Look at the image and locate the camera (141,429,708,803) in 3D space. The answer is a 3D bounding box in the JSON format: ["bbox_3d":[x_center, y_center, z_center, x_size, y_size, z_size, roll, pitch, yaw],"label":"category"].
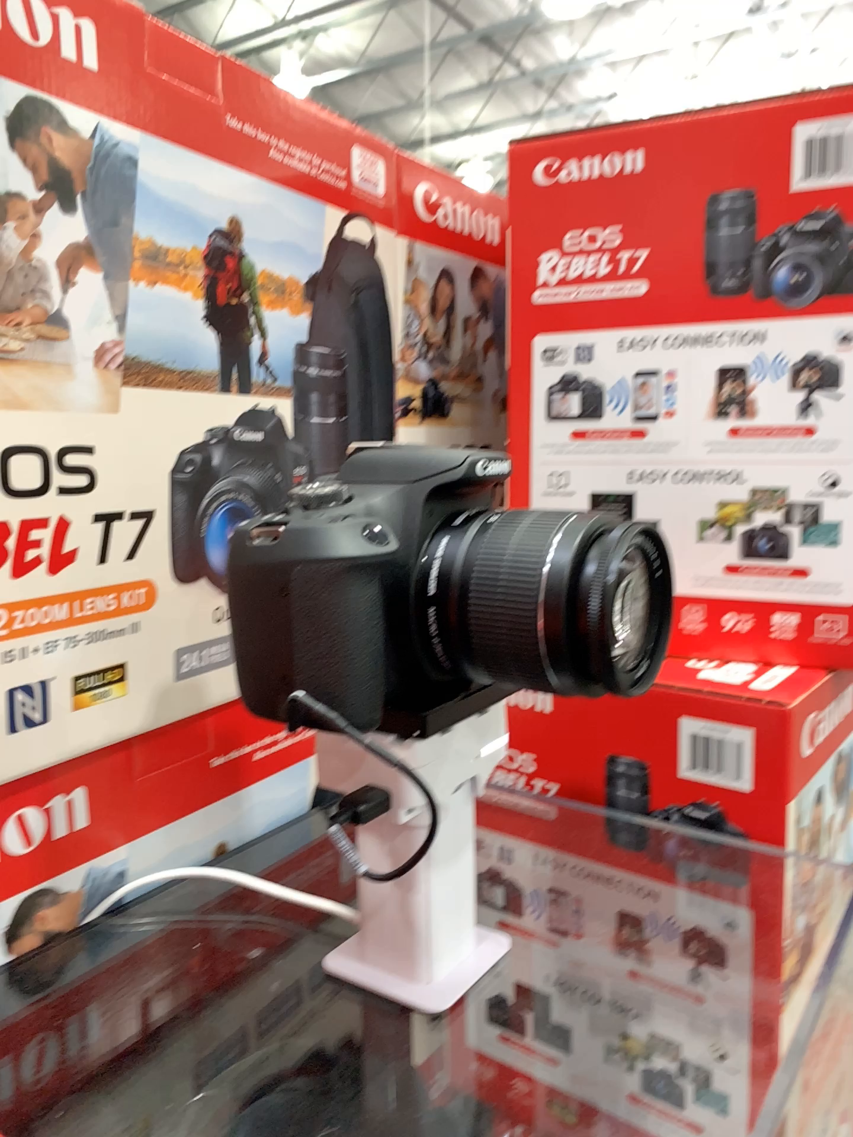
[{"bbox_3d":[0.003,0.000,0.334,0.160,0.100,0.140,6,9,35],"label":"camera"}]
